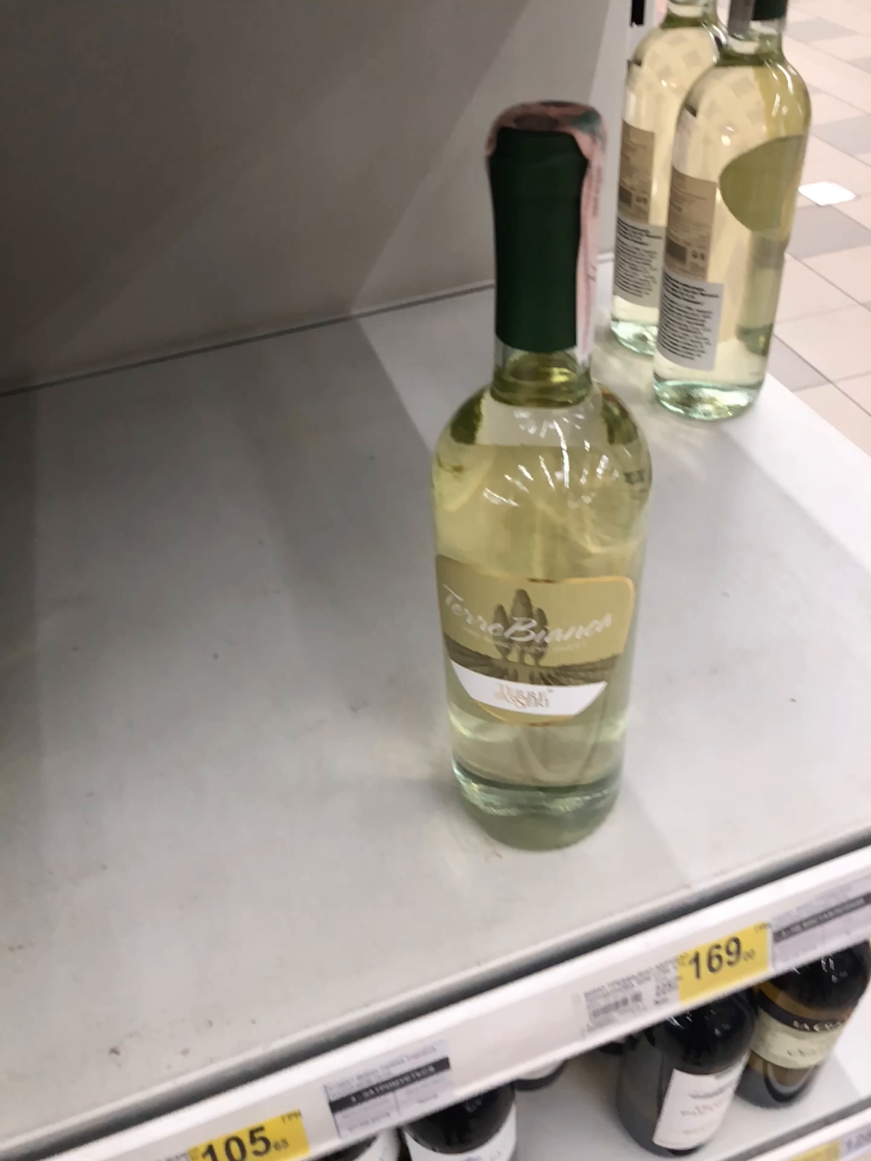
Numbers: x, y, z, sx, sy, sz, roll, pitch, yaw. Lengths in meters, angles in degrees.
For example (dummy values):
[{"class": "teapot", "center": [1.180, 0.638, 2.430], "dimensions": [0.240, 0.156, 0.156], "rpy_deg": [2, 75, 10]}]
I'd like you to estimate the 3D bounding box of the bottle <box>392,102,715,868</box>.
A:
[{"class": "bottle", "center": [0.037, -0.007, 0.327], "dimensions": [0.070, 0.269, 0.070], "rpy_deg": [-2, 43, 2]}]
